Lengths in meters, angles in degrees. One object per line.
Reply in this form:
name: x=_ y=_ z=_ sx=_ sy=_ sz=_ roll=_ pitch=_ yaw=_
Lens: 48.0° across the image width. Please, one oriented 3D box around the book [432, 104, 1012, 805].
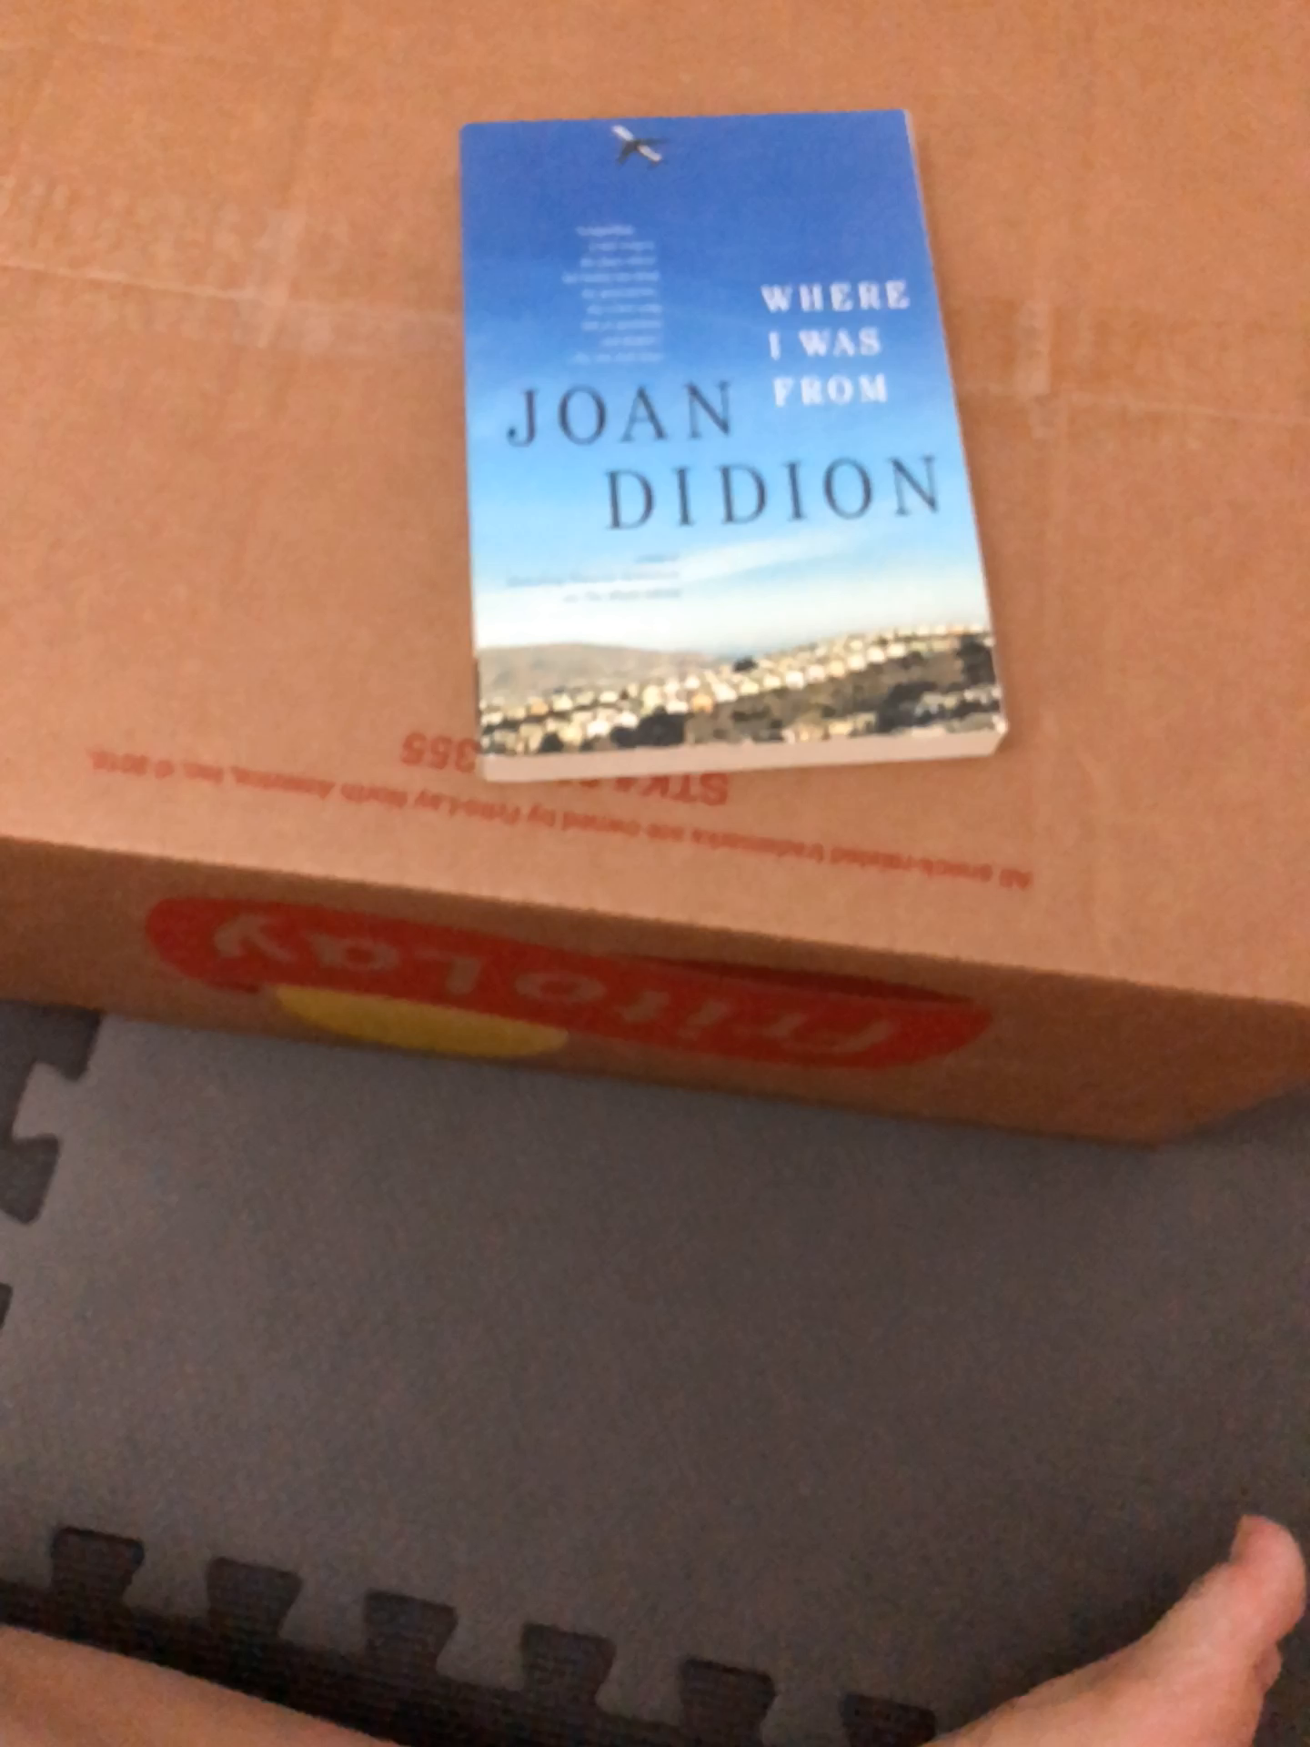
book: x=0.011 y=-0.124 z=0.408 sx=0.140 sy=0.020 sz=0.211 roll=-3 pitch=69 yaw=-2
